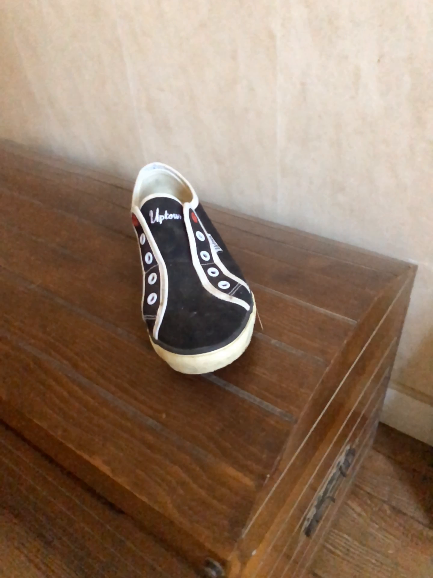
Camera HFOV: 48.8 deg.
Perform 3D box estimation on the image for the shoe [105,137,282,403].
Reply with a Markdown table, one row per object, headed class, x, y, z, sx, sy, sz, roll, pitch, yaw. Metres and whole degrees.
| class | x | y | z | sx | sy | sz | roll | pitch | yaw |
| --- | --- | --- | --- | --- | --- | --- | --- | --- | --- |
| shoe | -0.030 | -0.036 | 0.409 | 0.100 | 0.080 | 0.241 | -12 | 42 | -6 |
